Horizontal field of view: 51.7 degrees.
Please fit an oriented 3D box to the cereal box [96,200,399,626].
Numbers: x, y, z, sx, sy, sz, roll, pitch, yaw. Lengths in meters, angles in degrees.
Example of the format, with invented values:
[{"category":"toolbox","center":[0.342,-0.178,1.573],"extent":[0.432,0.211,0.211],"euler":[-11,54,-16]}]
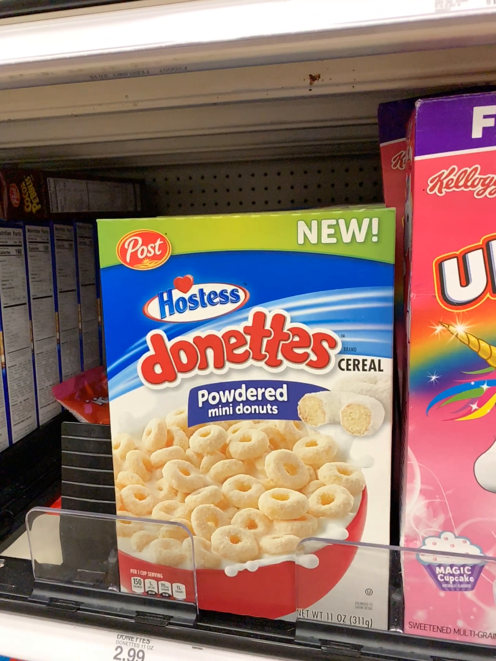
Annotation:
[{"category":"cereal box","center":[0.002,0.052,0.362],"extent":[0.190,0.269,0.060],"euler":[1,9,13]}]
